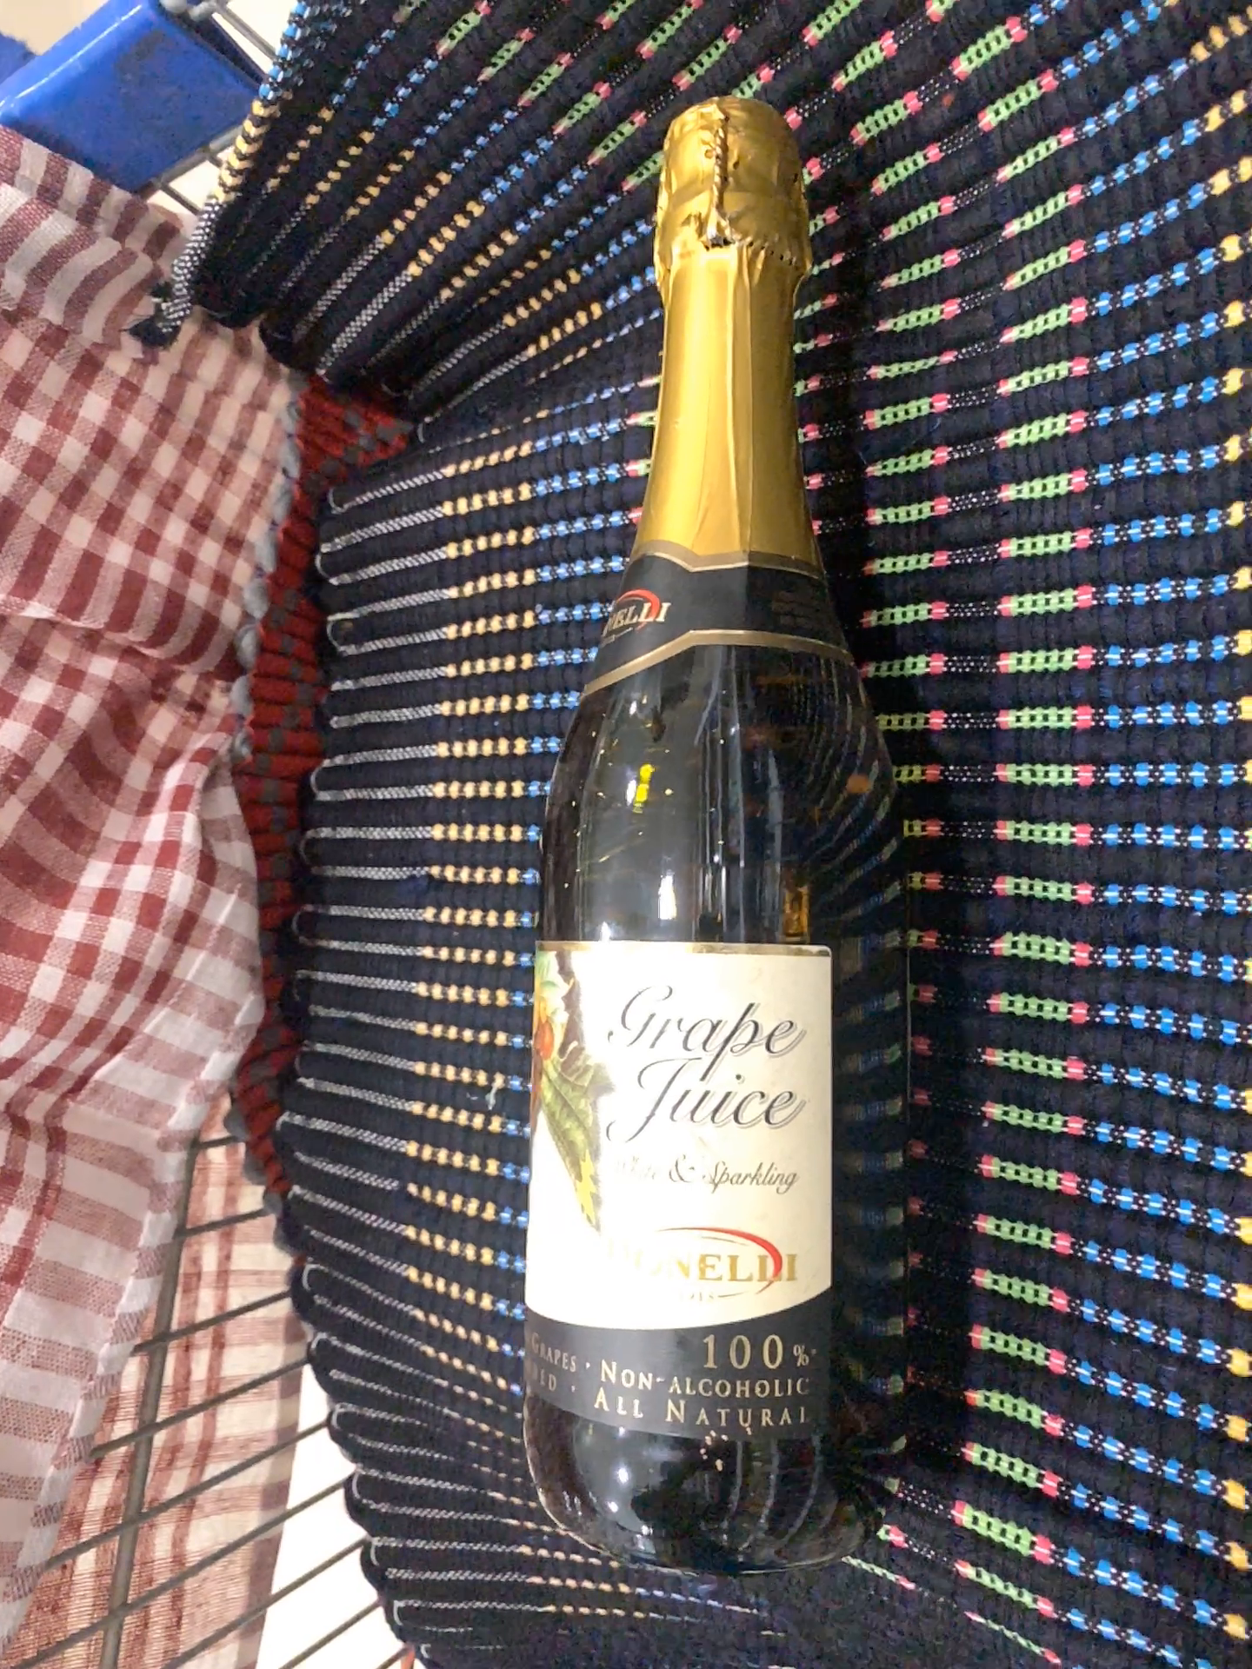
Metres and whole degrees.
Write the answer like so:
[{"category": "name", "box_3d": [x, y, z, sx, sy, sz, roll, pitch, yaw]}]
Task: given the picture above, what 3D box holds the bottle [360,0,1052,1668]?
[{"category": "bottle", "box_3d": [0.025, -0.016, 0.267, 0.091, 0.080, 0.300, -3, 77, 37]}]
